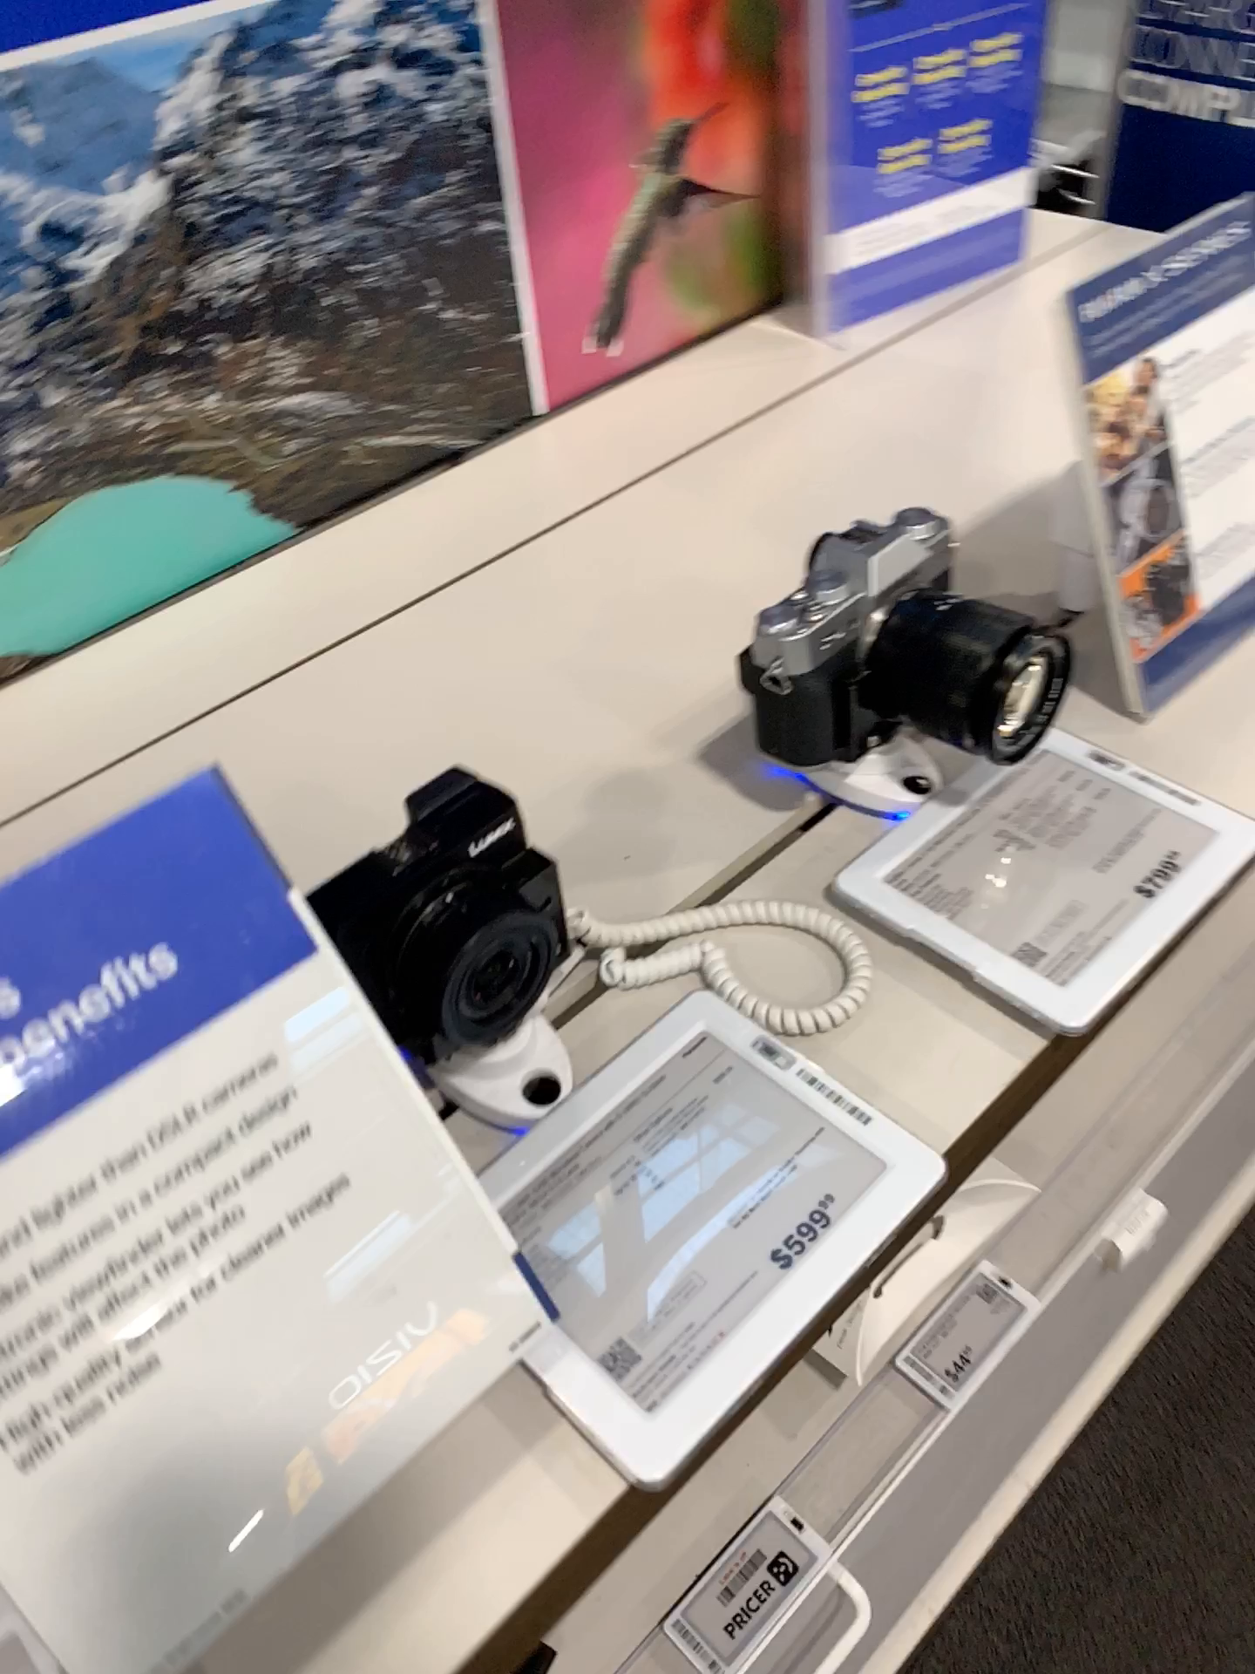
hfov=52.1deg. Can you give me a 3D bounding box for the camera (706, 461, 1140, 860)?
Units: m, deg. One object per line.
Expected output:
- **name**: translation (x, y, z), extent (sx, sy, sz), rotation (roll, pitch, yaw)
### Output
- **camera**: translation (0.119, -0.079, 0.532), extent (0.121, 0.079, 0.120), rotation (32, 55, 33)

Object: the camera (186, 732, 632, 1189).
- **camera**: translation (-0.069, 0.039, 0.439), extent (0.120, 0.079, 0.070), rotation (-37, 51, -28)
